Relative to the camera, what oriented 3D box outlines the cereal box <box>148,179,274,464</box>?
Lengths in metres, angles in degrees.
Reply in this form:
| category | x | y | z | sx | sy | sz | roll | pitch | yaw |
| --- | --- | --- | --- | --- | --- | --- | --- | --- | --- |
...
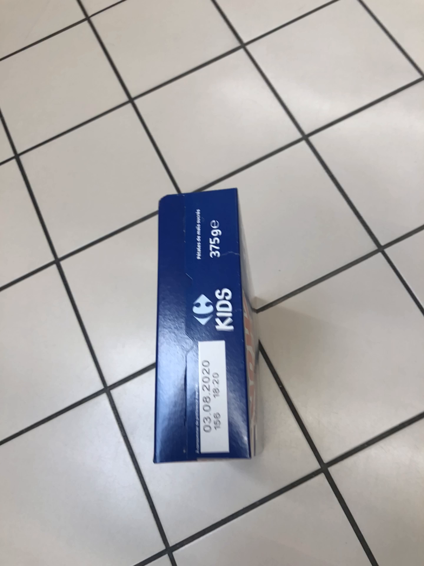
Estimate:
| category | x | y | z | sx | sy | sz | roll | pitch | yaw |
| --- | --- | --- | --- | --- | --- | --- | --- | --- | --- |
| cereal box | 0.014 | 0.064 | 0.465 | 0.080 | 0.290 | 0.200 | -4 | 71 | 6 |
